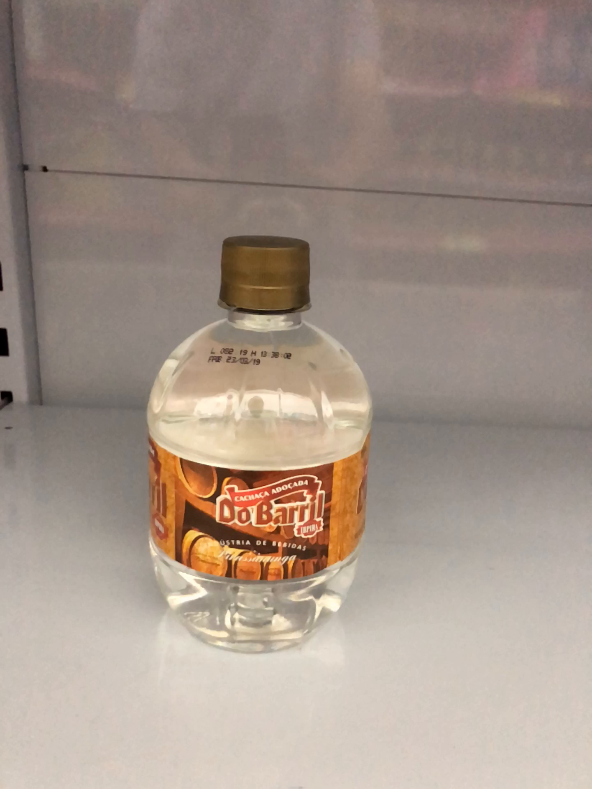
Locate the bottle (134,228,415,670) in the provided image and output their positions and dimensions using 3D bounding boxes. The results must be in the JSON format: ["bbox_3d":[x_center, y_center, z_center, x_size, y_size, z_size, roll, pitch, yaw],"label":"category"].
[{"bbox_3d":[-0.014,0.015,0.247,0.080,0.139,0.080,3,20,-1],"label":"bottle"}]
